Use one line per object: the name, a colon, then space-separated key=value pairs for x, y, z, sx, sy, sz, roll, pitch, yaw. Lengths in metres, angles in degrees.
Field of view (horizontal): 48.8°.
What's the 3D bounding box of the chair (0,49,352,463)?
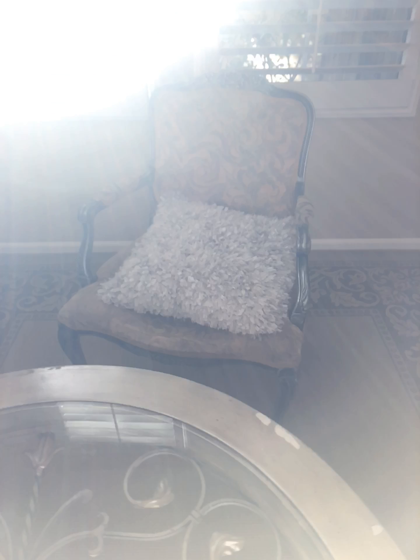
chair: x=-0.045 y=-0.106 z=1.420 sx=0.759 sy=0.971 sz=0.656 roll=9 pitch=35 yaw=13
